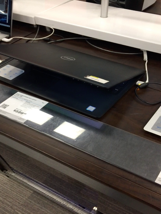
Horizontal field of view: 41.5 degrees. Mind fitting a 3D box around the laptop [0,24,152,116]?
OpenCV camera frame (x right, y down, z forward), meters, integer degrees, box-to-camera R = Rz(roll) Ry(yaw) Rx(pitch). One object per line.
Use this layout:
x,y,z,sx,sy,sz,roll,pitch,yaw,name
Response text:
-0.049,-0.135,0.646,0.401,0.081,0.222,25,56,26,laptop
